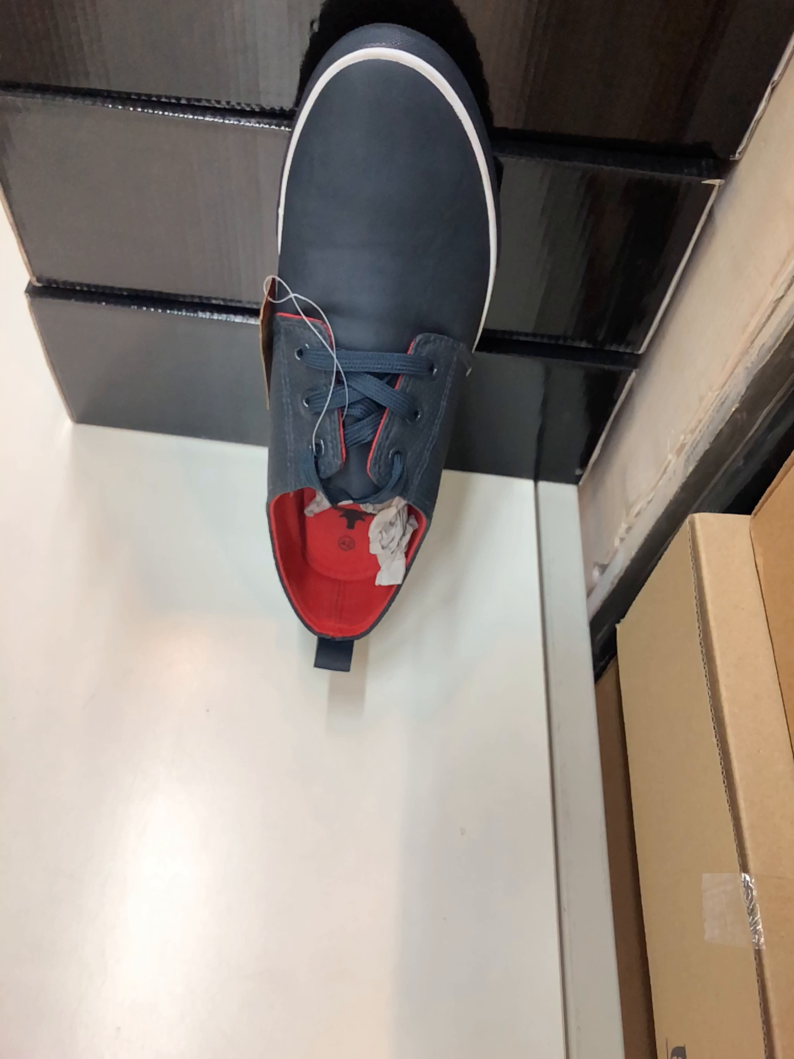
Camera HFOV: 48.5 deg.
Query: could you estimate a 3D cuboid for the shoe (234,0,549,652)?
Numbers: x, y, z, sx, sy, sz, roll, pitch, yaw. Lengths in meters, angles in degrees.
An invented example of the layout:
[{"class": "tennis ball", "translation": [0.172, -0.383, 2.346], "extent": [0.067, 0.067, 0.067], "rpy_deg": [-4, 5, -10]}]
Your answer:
[{"class": "shoe", "translation": [-0.008, -0.087, 0.400], "extent": [0.103, 0.268, 0.102], "rpy_deg": [9, 34, 3]}]
